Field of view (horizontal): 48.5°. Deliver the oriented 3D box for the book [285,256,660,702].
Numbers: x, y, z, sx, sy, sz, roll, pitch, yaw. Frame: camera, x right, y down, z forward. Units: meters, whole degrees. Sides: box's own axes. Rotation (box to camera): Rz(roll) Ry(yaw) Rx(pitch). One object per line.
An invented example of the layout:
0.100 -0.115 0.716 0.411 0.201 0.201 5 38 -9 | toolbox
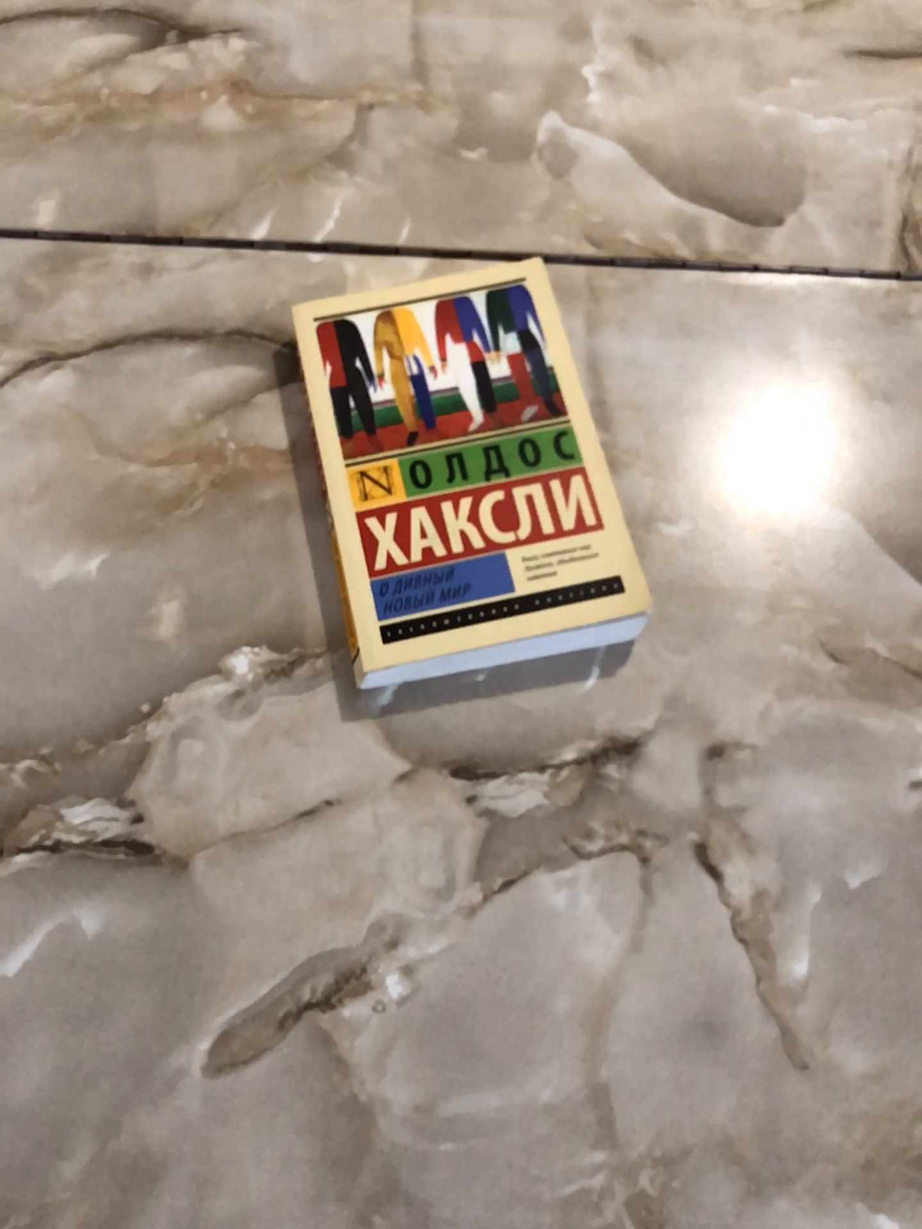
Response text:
-0.001 -0.064 0.435 0.120 0.028 0.184 -10 67 -6 | book
